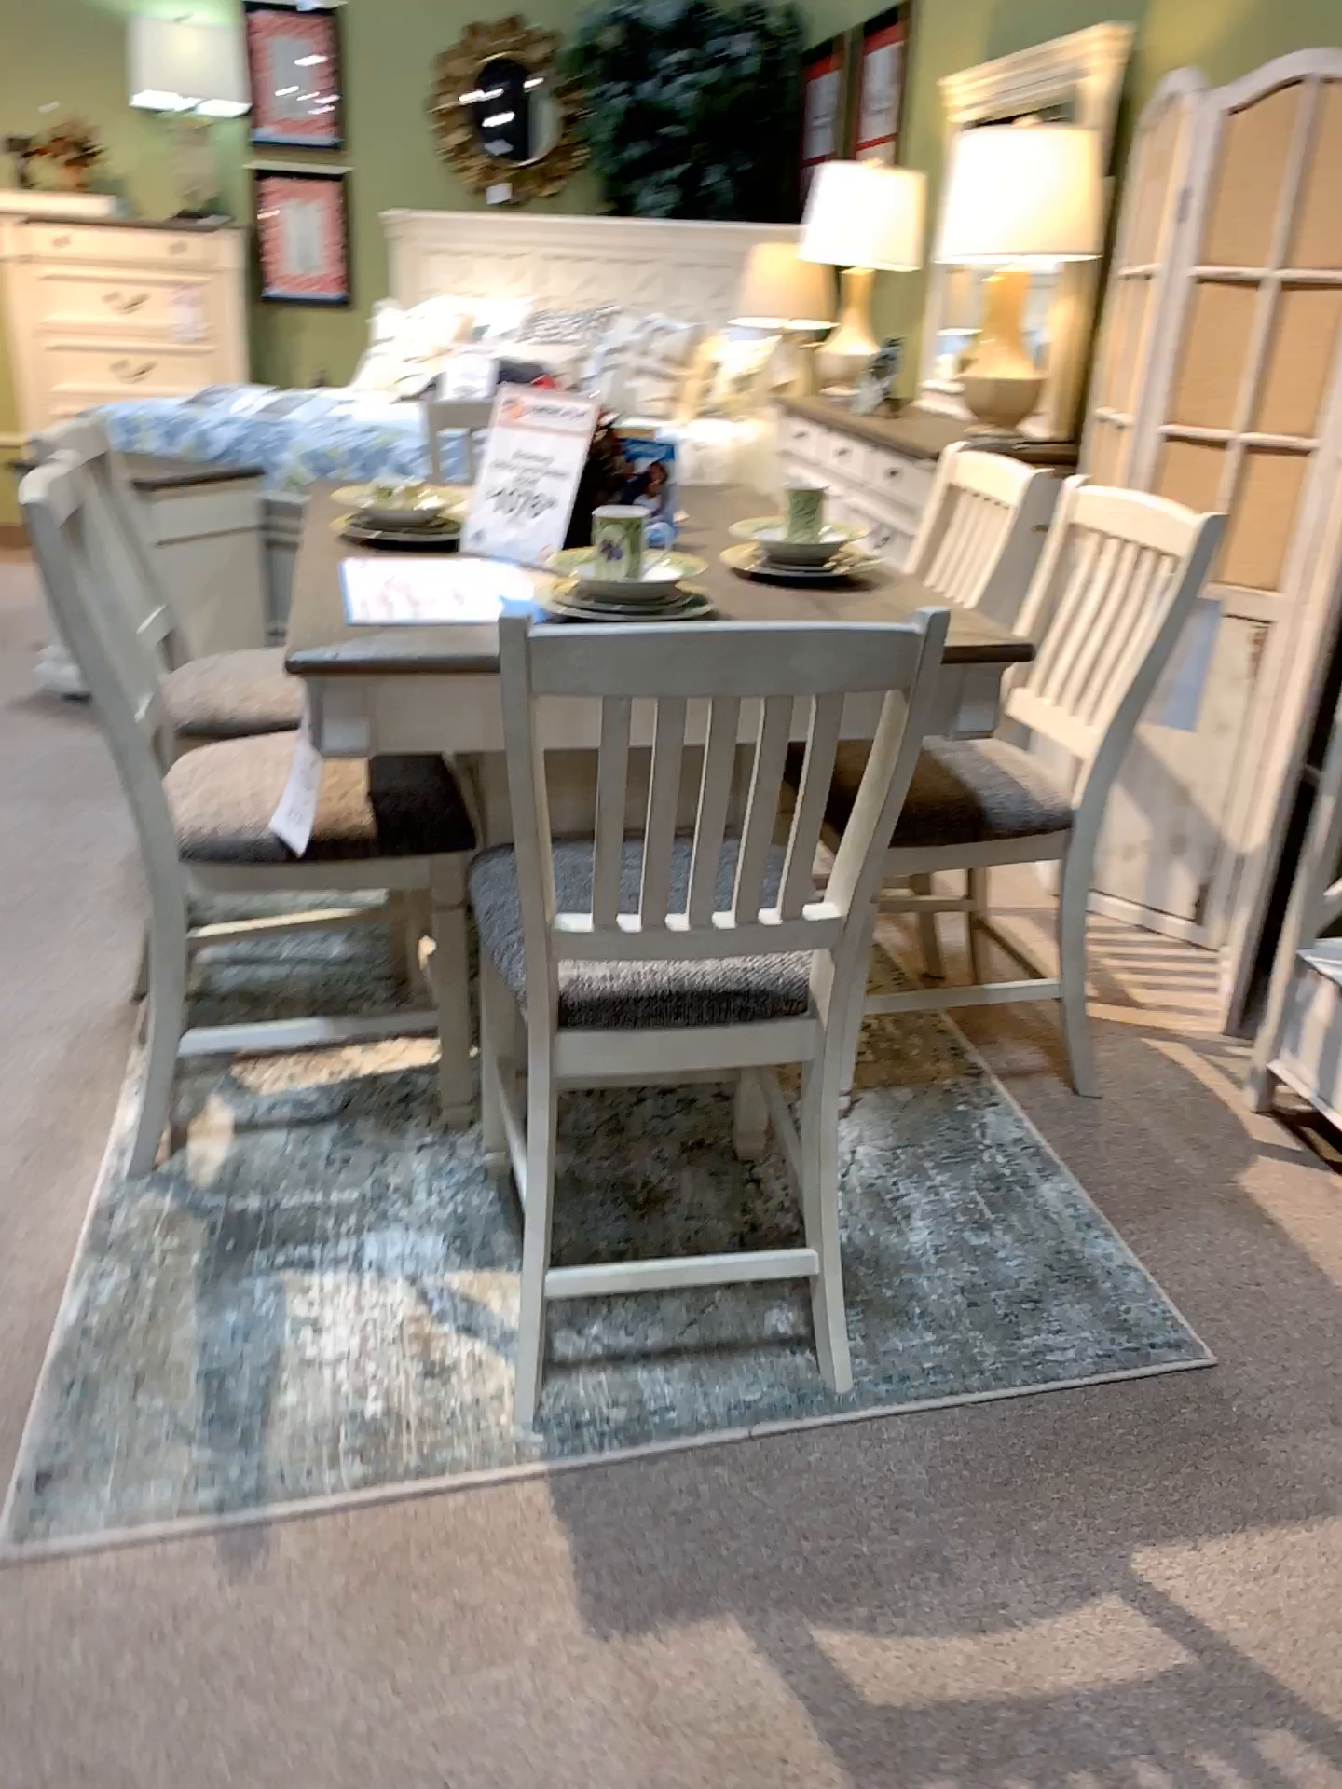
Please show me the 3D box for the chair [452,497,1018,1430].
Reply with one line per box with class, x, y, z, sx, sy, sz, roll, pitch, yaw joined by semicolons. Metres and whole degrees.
chair;-0.002;0.049;1.653;0.490;0.925;0.593;-1;25;-11
